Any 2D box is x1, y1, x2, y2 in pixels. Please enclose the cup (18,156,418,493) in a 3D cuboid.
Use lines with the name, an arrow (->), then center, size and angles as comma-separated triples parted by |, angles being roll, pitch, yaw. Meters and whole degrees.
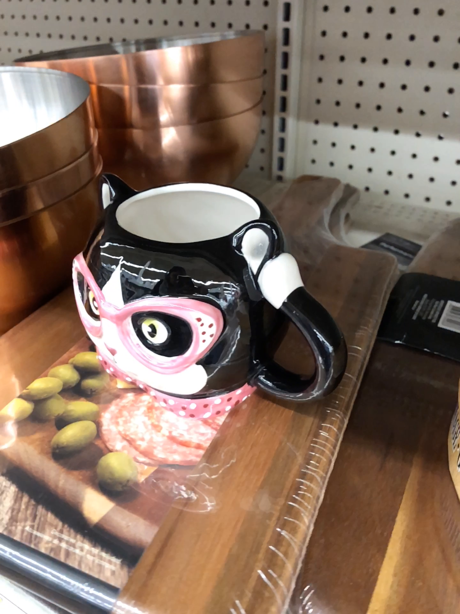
cup -> -0.010, -0.006, 0.237 | 0.150, 0.080, 0.080 | 23, 40, 31
